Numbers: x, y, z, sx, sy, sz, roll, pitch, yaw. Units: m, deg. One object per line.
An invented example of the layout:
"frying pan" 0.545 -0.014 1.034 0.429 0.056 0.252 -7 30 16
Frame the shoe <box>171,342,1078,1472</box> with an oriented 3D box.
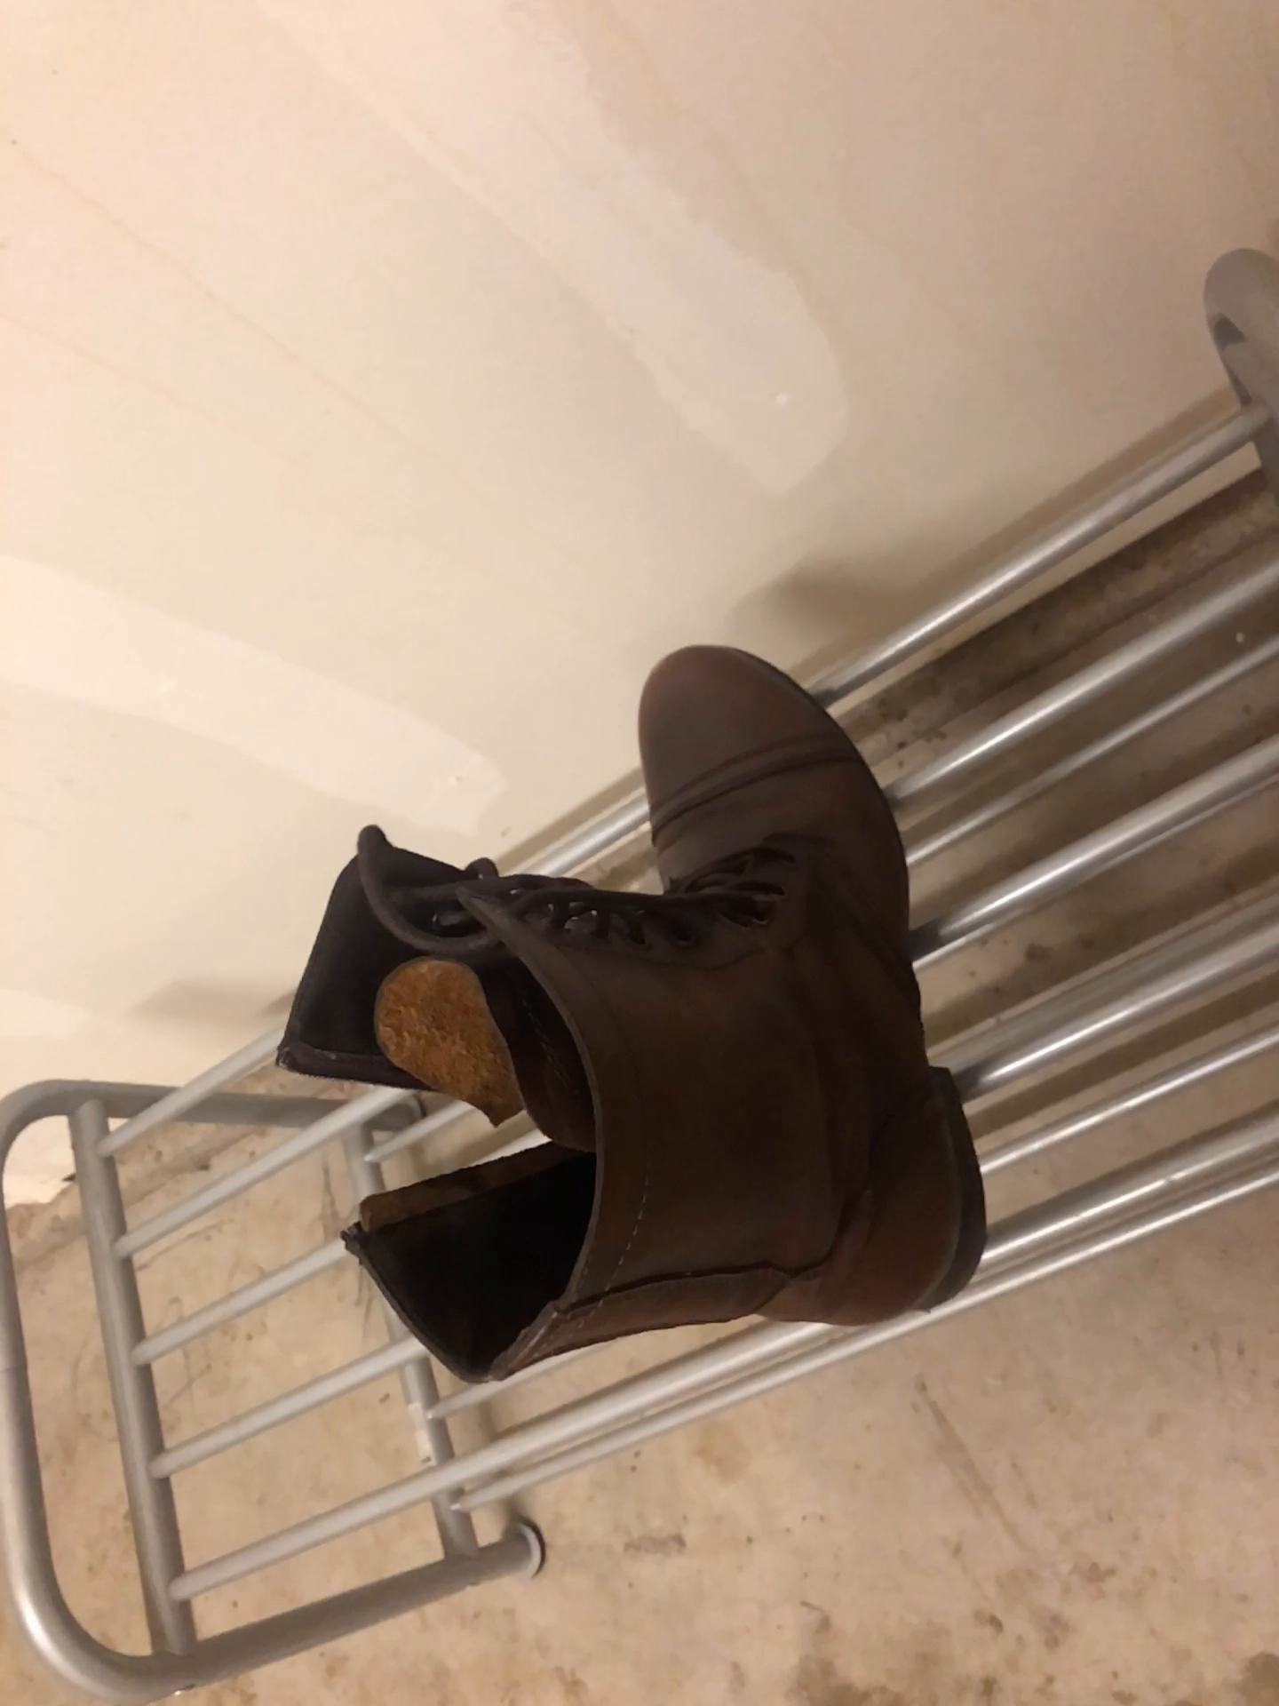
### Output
"shoe" -0.001 0.024 0.482 0.122 0.238 0.287 -29 65 29
